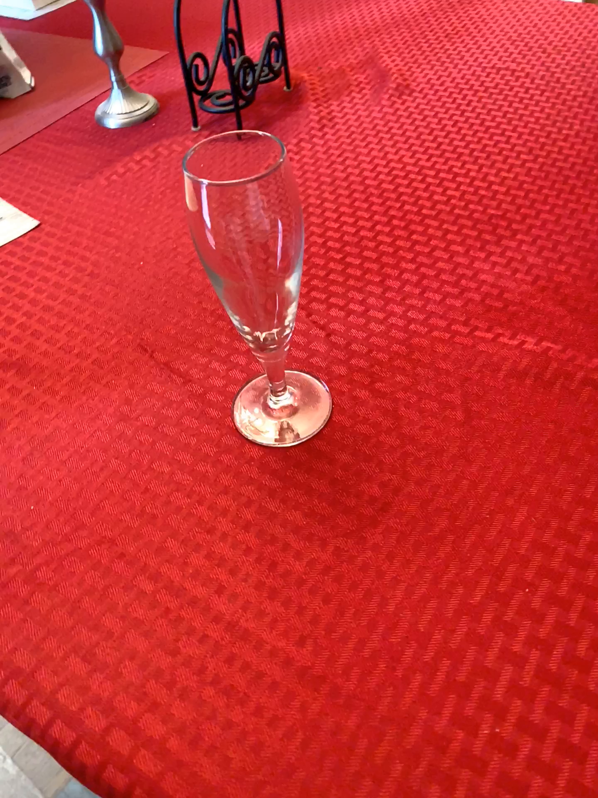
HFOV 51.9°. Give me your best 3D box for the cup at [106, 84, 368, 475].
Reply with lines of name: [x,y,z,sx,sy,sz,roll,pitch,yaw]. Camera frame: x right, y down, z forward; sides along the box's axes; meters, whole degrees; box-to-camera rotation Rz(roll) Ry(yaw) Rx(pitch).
cup: [-0.020,-0.056,0.336,0.080,0.179,0.080,-4,49,4]
